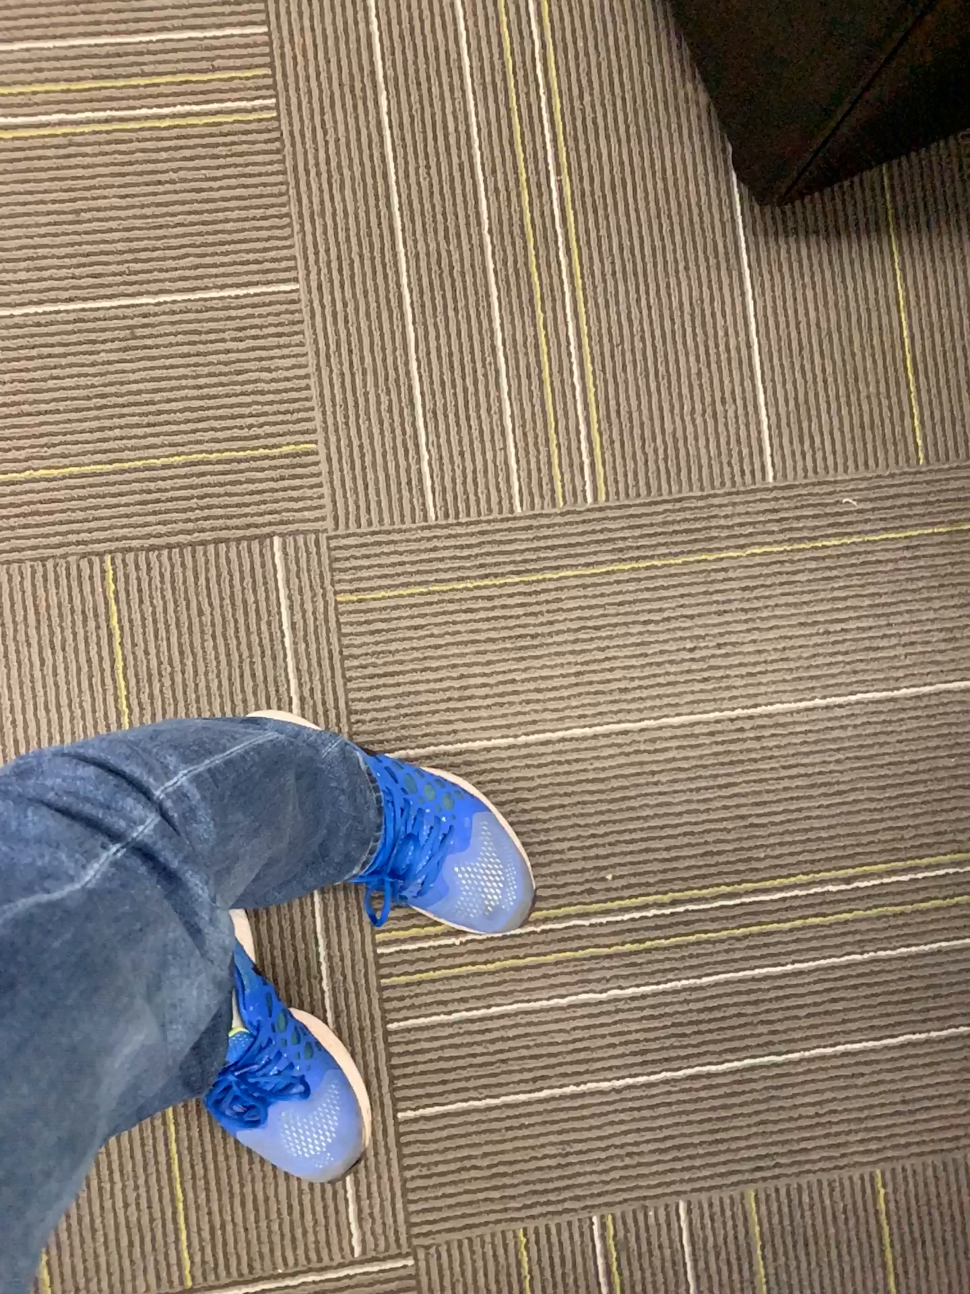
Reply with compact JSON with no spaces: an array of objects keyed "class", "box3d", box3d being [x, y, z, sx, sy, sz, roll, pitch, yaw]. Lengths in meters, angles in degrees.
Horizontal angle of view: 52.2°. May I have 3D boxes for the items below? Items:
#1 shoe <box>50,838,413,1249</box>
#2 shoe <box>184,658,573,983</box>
[{"class":"shoe","box3d":[-0.204,0.324,0.831,0.128,0.077,0.299,-39,91,-4]},{"class":"shoe","box3d":[-0.088,0.144,0.850,0.298,0.077,0.125,33,86,-2]}]
